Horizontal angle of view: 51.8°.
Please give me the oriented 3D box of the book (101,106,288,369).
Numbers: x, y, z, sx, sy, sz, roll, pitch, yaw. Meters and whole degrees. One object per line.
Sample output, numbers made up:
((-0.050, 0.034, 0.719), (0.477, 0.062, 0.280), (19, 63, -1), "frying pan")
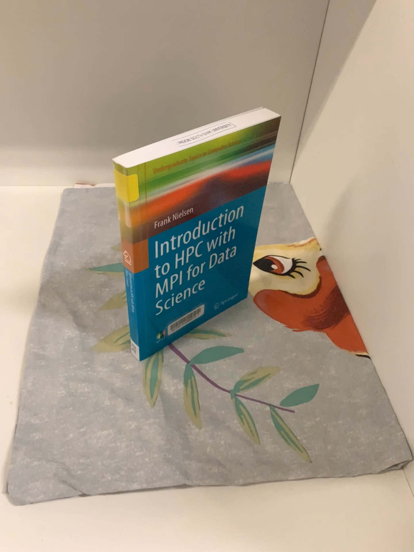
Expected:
((-0.010, -0.030, 0.418), (0.171, 0.228, 0.030), (-30, 54, -31), "book")

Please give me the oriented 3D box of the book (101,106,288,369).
((-0.010, -0.030, 0.418), (0.171, 0.228, 0.030), (-30, 54, -31), "book")
